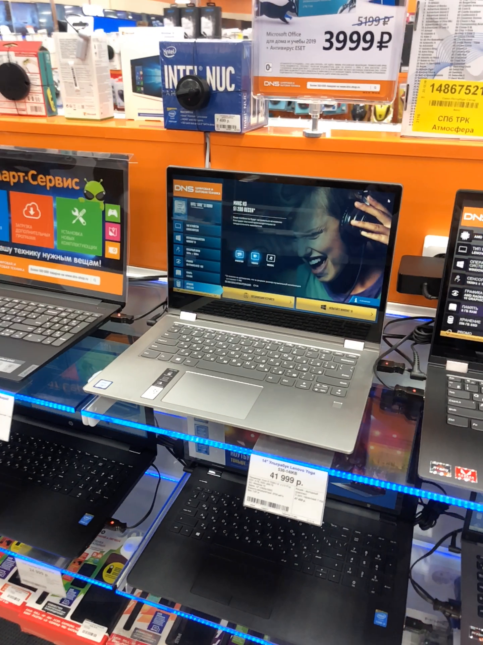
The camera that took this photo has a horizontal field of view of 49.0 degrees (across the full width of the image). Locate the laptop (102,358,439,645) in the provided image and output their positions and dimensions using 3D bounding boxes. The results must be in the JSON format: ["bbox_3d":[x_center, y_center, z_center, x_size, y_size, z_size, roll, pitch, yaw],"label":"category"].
[{"bbox_3d":[0.055,0.230,0.733,0.368,0.207,0.264,8,28,18],"label":"laptop"}]

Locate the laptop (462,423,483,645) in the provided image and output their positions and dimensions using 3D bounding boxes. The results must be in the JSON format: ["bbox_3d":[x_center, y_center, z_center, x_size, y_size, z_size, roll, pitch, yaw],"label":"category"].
[{"bbox_3d":[0.439,0.293,0.600,0.309,0.213,0.238,8,27,21],"label":"laptop"}]

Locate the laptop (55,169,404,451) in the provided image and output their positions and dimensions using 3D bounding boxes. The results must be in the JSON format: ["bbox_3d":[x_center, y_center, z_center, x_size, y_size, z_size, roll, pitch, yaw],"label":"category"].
[{"bbox_3d":[0.002,-0.042,0.629,0.315,0.212,0.239,9,28,19],"label":"laptop"}]

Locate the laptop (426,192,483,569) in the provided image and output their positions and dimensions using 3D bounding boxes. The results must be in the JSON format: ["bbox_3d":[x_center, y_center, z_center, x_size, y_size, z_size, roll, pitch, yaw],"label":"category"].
[{"bbox_3d":[0.348,0.017,0.508,0.290,0.209,0.248,9,28,19],"label":"laptop"}]

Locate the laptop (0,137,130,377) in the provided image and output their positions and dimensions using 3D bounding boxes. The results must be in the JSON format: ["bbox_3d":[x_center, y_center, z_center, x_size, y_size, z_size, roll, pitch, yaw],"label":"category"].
[{"bbox_3d":[-0.375,-0.115,0.747,0.305,0.212,0.279,9,28,14],"label":"laptop"}]

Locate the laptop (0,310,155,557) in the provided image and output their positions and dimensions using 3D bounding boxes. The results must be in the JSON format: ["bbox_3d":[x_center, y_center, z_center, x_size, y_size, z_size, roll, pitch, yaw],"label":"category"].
[{"bbox_3d":[-0.378,0.160,0.885,0.378,0.235,0.239,9,28,19],"label":"laptop"}]
